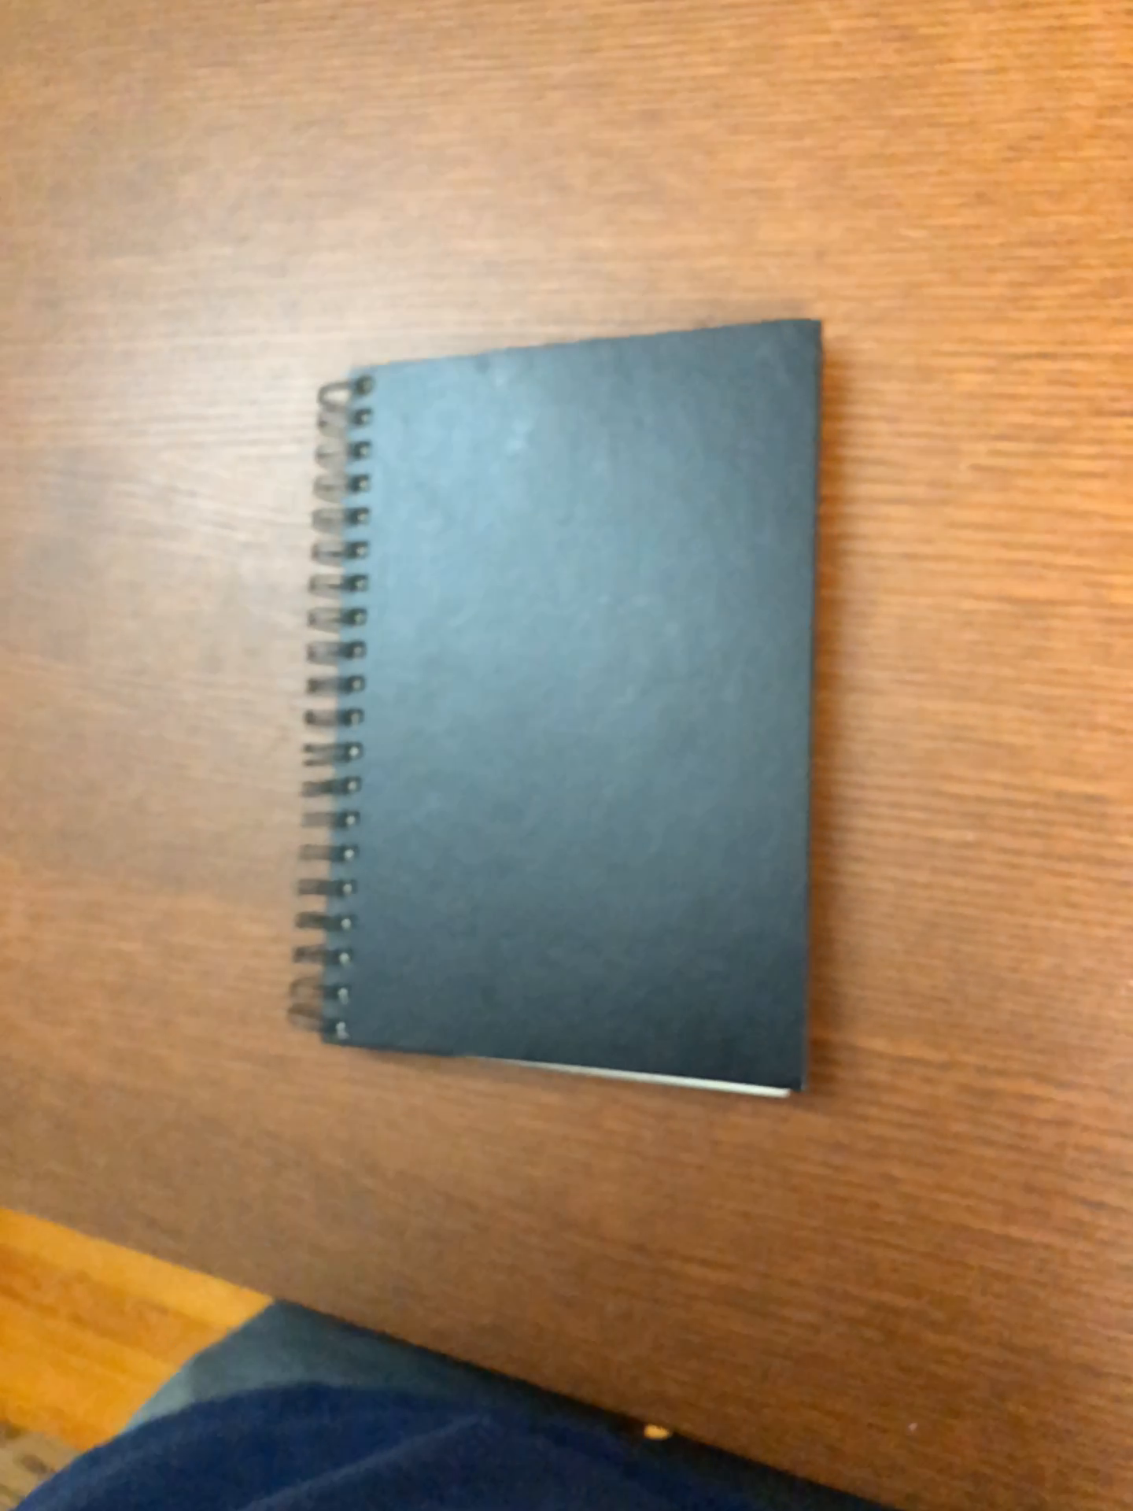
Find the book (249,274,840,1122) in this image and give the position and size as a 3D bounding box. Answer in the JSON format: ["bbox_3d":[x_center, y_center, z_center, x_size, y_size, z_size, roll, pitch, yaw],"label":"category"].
[{"bbox_3d":[-0.011,-0.019,0.438,0.200,0.030,0.260,0,85,22],"label":"book"}]
